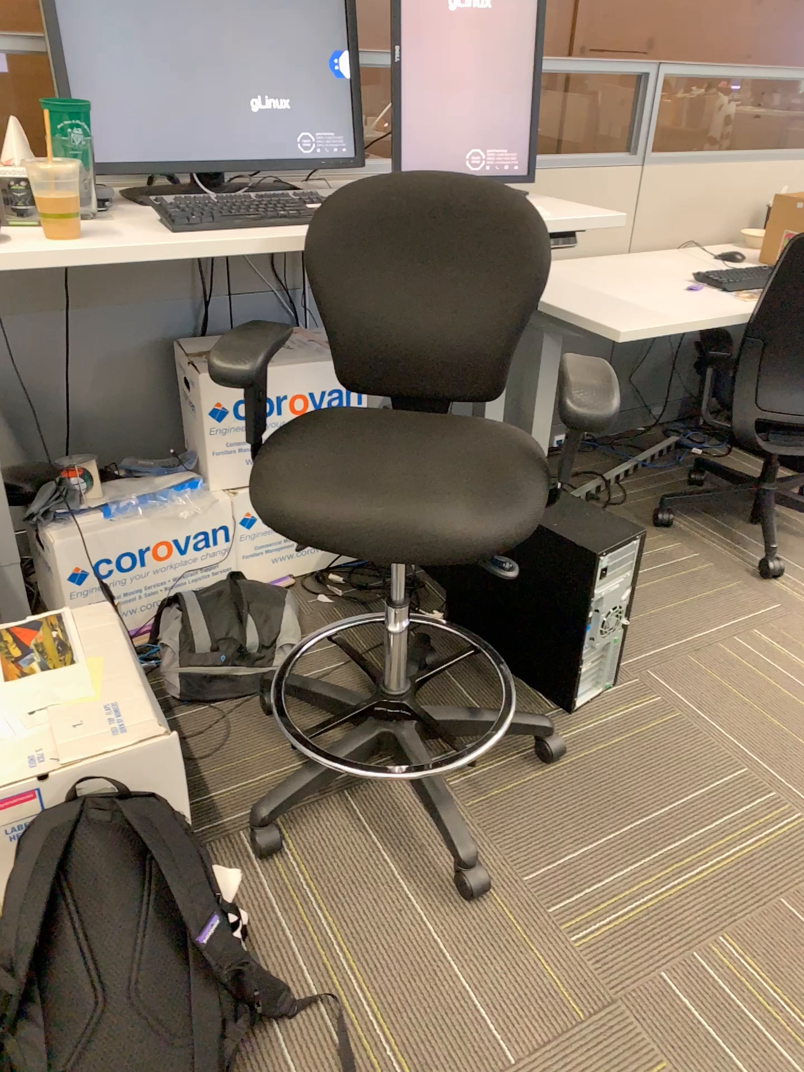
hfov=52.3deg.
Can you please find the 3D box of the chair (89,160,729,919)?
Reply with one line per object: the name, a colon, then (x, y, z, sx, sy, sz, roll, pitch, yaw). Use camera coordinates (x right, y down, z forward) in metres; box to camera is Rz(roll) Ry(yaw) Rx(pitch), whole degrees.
chair: (0.021, -0.038, 1.509, 0.710, 1.103, 0.774, 4, 29, 4)
